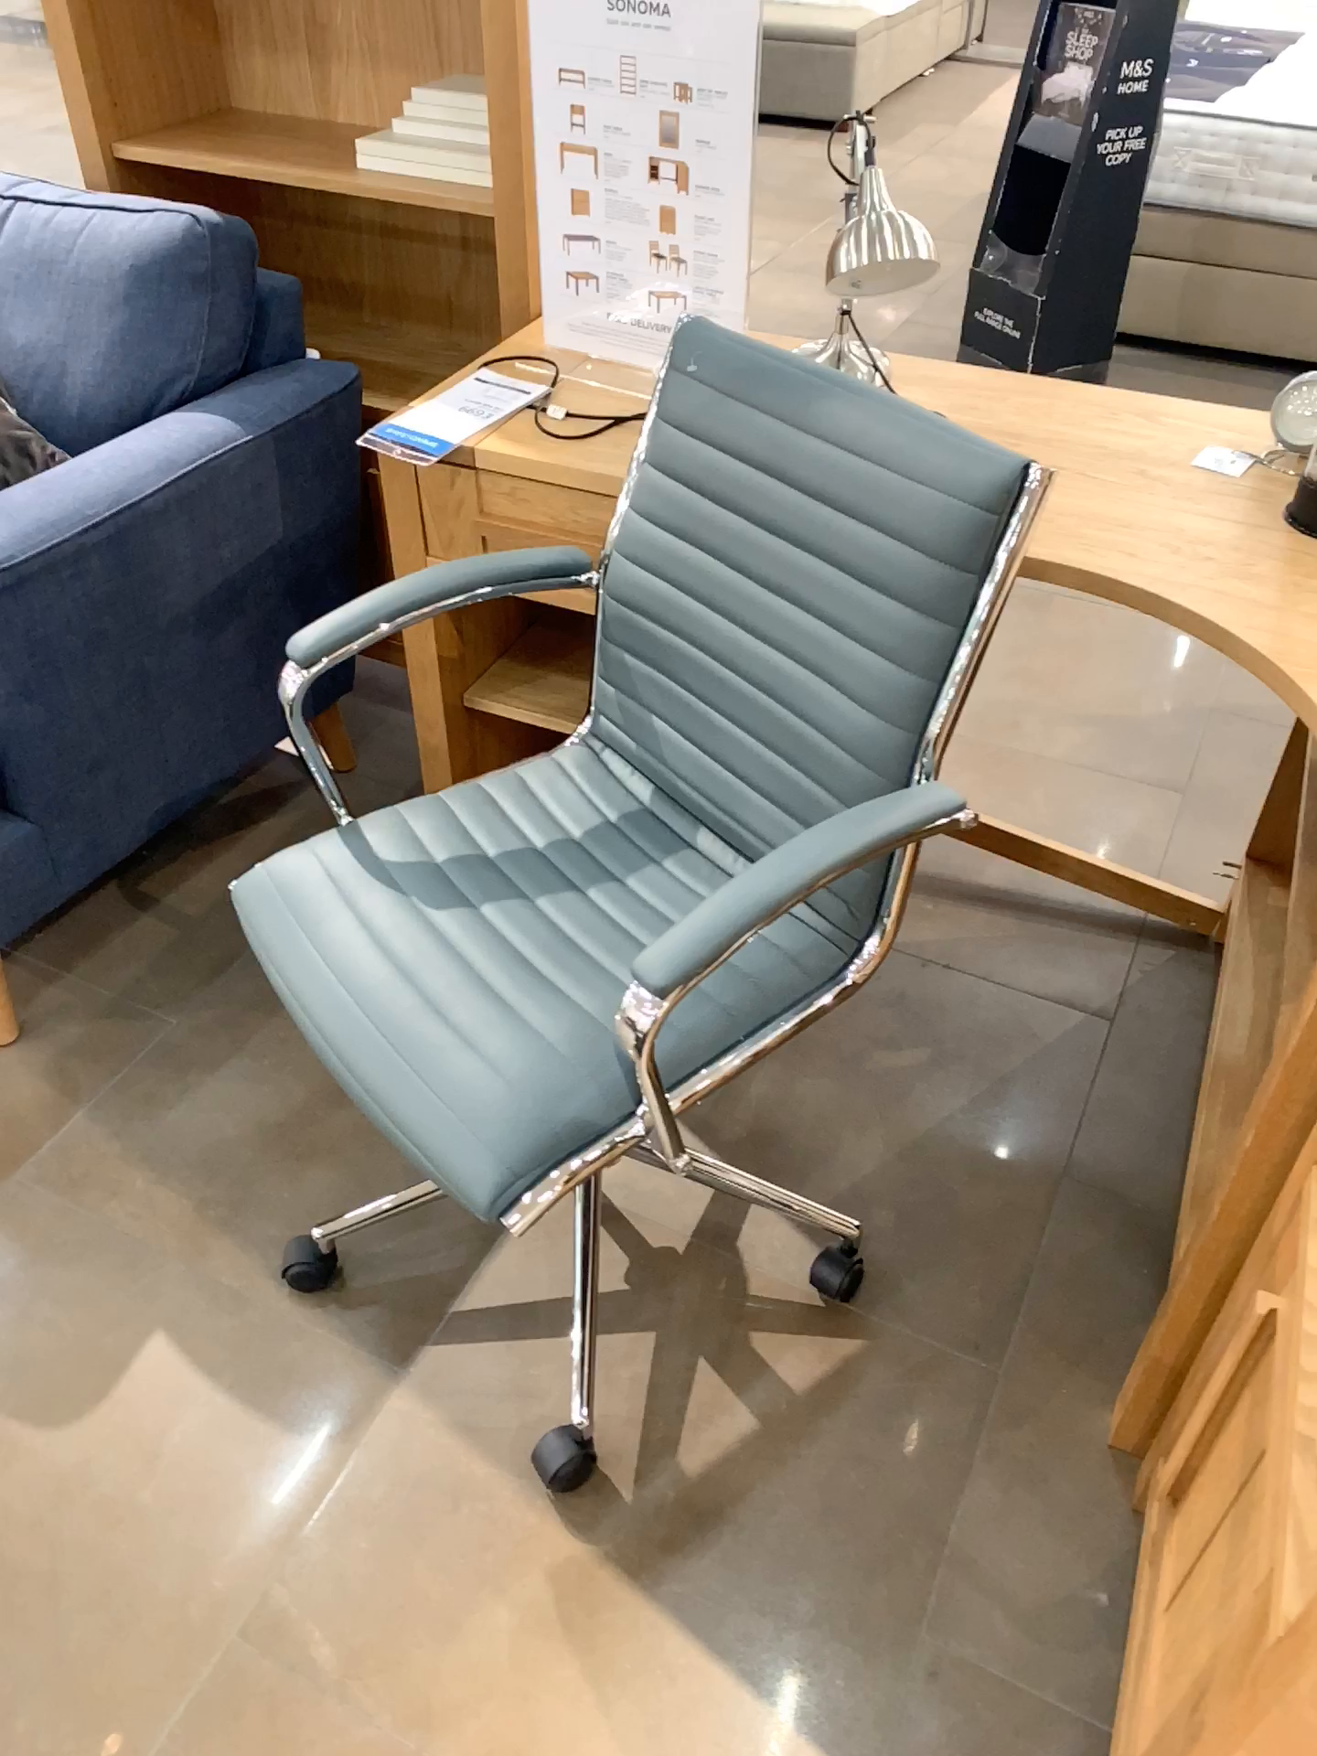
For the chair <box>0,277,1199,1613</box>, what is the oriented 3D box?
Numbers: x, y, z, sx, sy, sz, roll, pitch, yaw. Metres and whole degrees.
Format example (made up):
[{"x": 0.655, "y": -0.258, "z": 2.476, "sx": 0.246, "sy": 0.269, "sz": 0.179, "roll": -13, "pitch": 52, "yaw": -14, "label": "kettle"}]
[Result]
[{"x": -0.086, "y": 0.023, "z": 1.311, "sx": 0.709, "sy": 0.883, "sz": 0.668, "roll": -26, "pitch": 47, "yaw": -28, "label": "chair"}]
